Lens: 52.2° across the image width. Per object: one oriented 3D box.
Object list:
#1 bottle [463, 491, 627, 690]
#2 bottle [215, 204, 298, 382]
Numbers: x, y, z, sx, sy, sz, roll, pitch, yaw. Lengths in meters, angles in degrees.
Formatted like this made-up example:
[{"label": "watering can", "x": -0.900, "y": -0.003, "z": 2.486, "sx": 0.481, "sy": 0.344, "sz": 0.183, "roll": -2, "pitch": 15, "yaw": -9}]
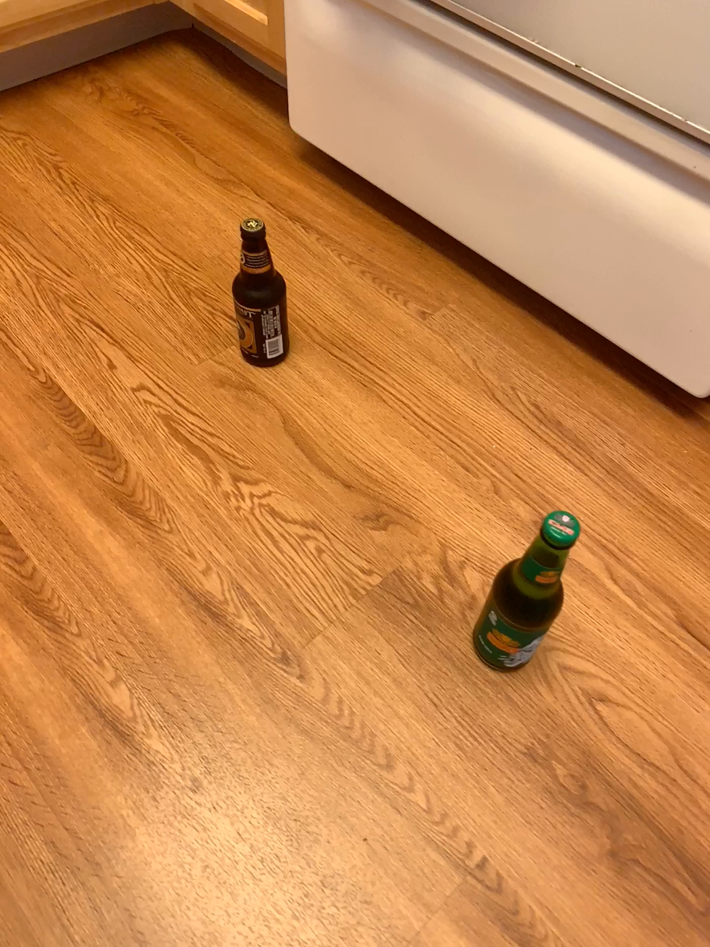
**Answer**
[{"label": "bottle", "x": 0.152, "y": 0.109, "z": 0.622, "sx": 0.060, "sy": 0.219, "sz": 0.060, "roll": 1, "pitch": 55, "yaw": -2}, {"label": "bottle", "x": -0.111, "y": -0.205, "z": 0.847, "sx": 0.060, "sy": 0.189, "sz": 0.070, "roll": -25, "pitch": 60, "yaw": -19}]
